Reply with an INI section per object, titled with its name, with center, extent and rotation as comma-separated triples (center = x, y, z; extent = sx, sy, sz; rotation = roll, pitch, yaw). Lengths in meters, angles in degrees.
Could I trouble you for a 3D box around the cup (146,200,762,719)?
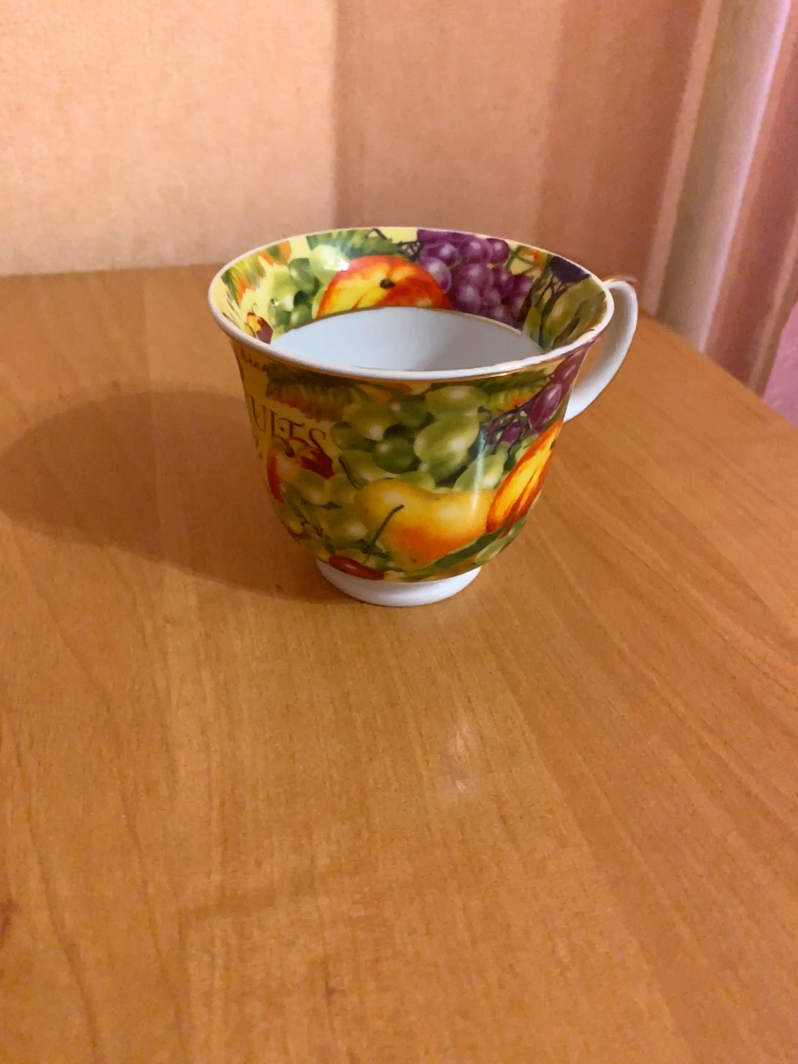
[cup]
center = 0.010, -0.028, 0.205
extent = 0.106, 0.071, 0.086
rotation = -21, 41, -29
